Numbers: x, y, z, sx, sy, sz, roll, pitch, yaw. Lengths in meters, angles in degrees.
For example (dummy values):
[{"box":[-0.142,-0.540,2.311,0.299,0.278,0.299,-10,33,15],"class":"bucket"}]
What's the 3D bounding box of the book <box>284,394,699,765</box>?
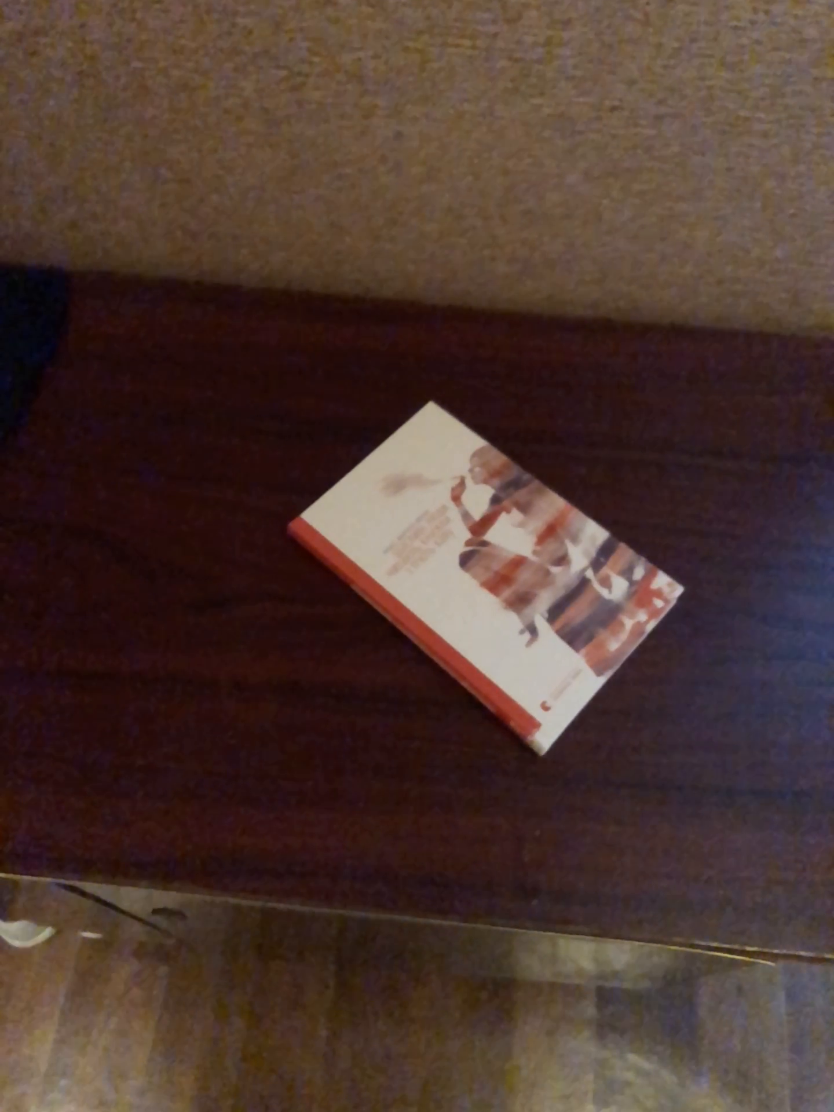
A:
[{"box":[0.047,0.004,0.608,0.227,0.020,0.150,39,67,18],"class":"book"}]
